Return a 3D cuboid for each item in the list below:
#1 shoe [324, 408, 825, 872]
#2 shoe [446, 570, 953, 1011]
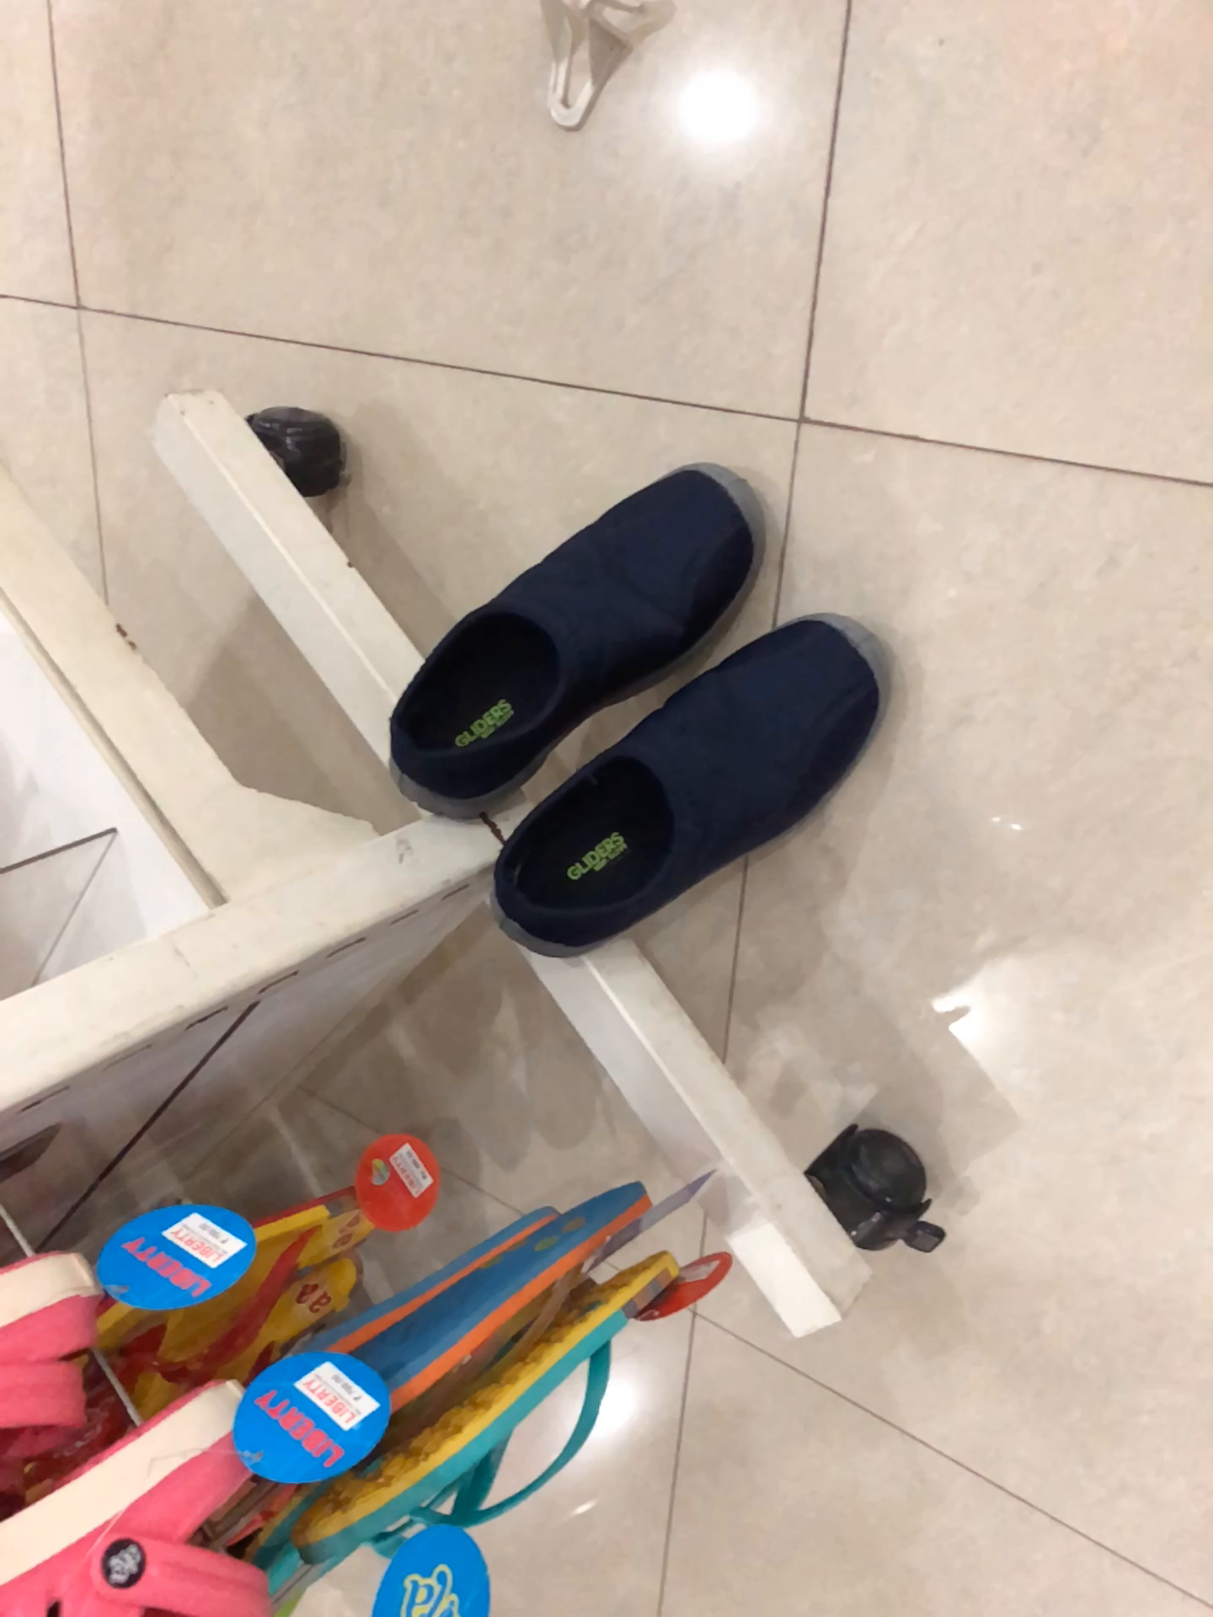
[{"bbox_3d":[-0.025,-0.093,0.801,0.290,0.083,0.110,-38,83,26],"label":"shoe"},{"bbox_3d":[0.048,-0.006,0.791,0.290,0.063,0.107,-38,83,23],"label":"shoe"}]
